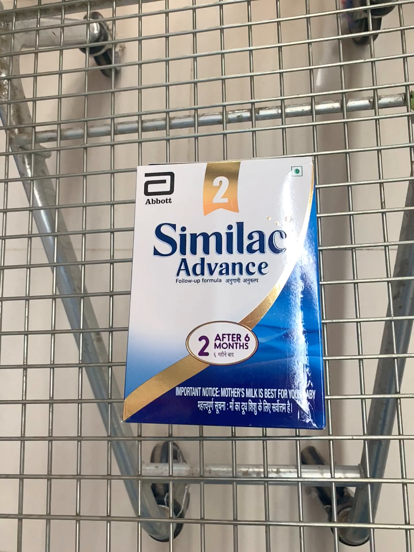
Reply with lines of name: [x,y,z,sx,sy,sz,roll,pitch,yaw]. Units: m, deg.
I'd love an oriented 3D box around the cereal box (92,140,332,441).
cereal box: [0.006,0.010,0.317,0.150,0.060,0.200,-1,76,8]
